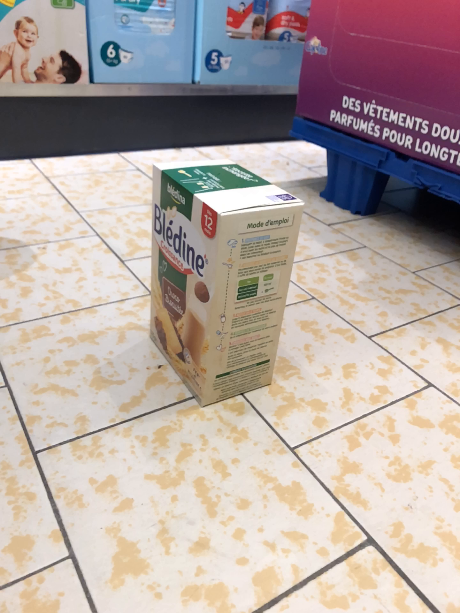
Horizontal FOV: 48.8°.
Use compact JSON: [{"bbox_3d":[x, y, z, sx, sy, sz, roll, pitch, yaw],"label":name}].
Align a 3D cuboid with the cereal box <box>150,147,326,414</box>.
[{"bbox_3d":[-0.006,-0.028,0.437,0.080,0.179,0.130,-12,35,-28],"label":"cereal box"}]
